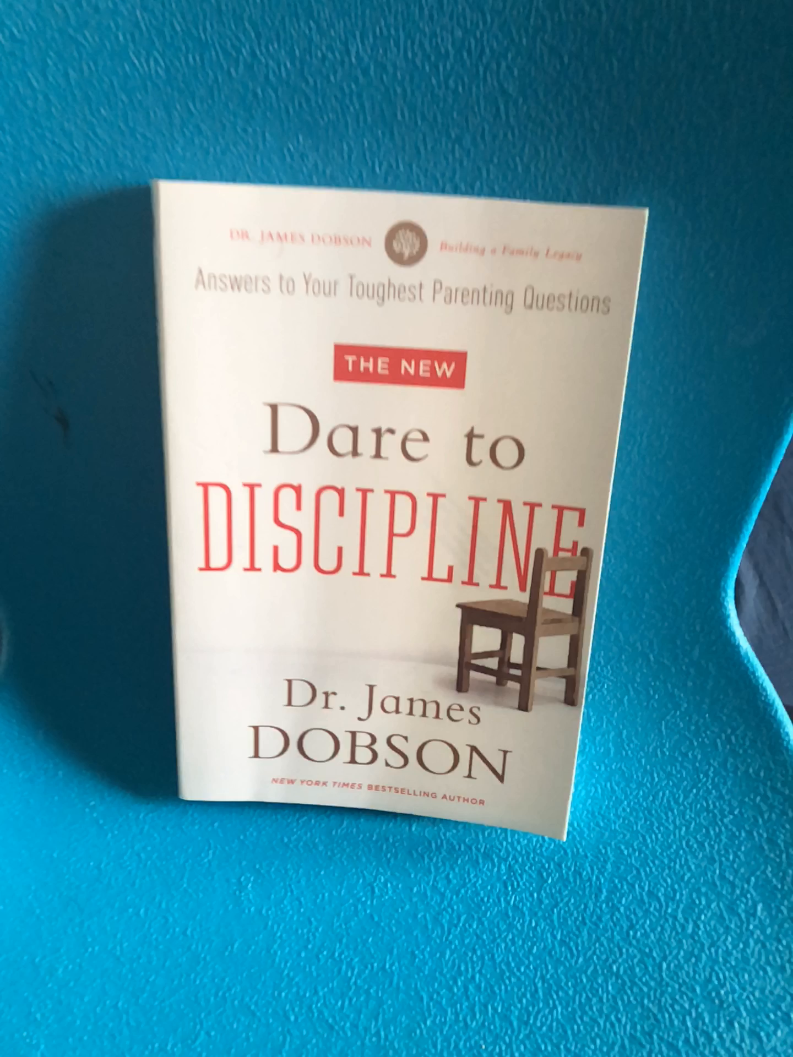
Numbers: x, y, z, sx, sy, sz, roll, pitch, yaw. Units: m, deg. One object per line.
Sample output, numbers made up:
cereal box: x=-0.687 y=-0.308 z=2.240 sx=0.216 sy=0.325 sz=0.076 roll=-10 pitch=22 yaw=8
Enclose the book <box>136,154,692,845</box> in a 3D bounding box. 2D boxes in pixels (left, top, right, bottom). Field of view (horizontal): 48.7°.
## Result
book: x=-0.001 y=-0.006 z=0.280 sx=0.150 sy=0.199 sz=0.040 roll=4 pitch=15 yaw=4
